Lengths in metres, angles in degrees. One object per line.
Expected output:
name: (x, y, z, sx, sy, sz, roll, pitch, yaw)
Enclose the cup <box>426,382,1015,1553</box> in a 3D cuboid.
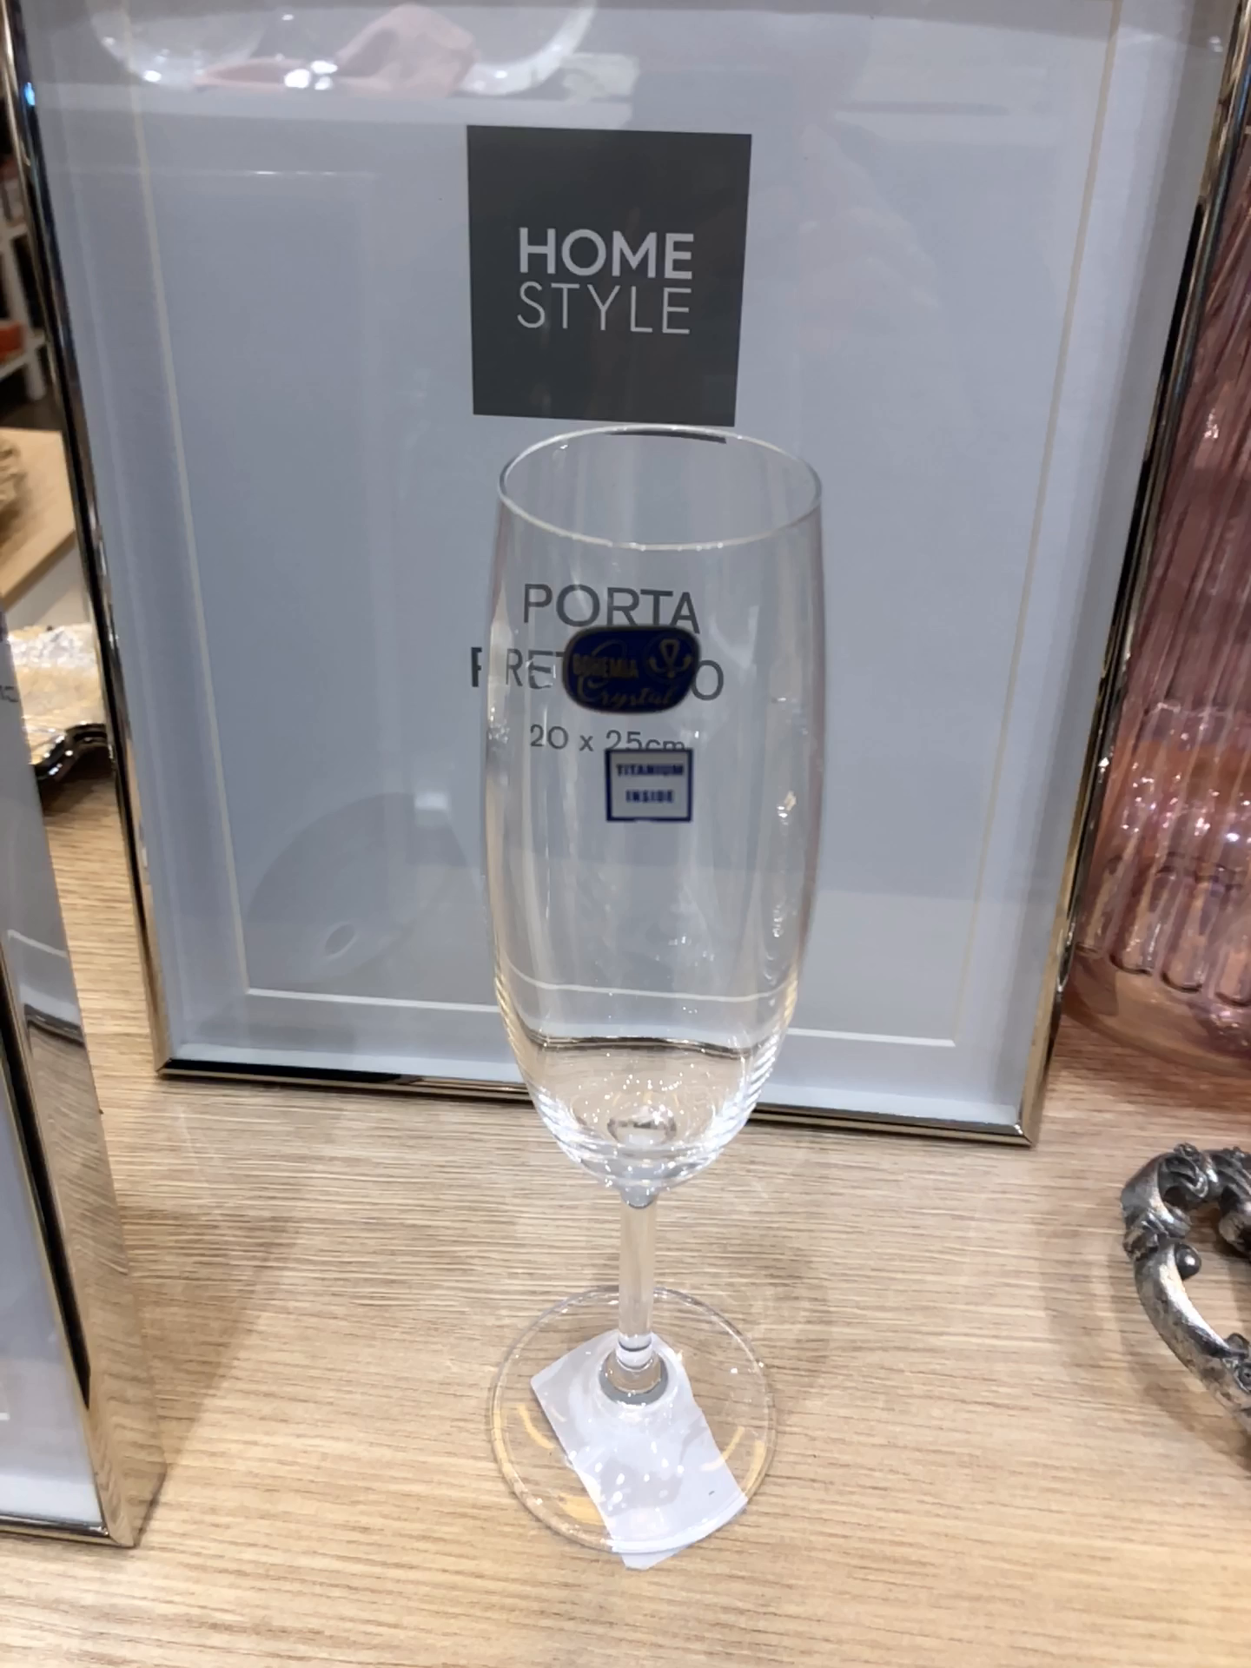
cup: (0.011, 0.038, 0.256, 0.070, 0.218, 0.071, 1, 35, 0)
